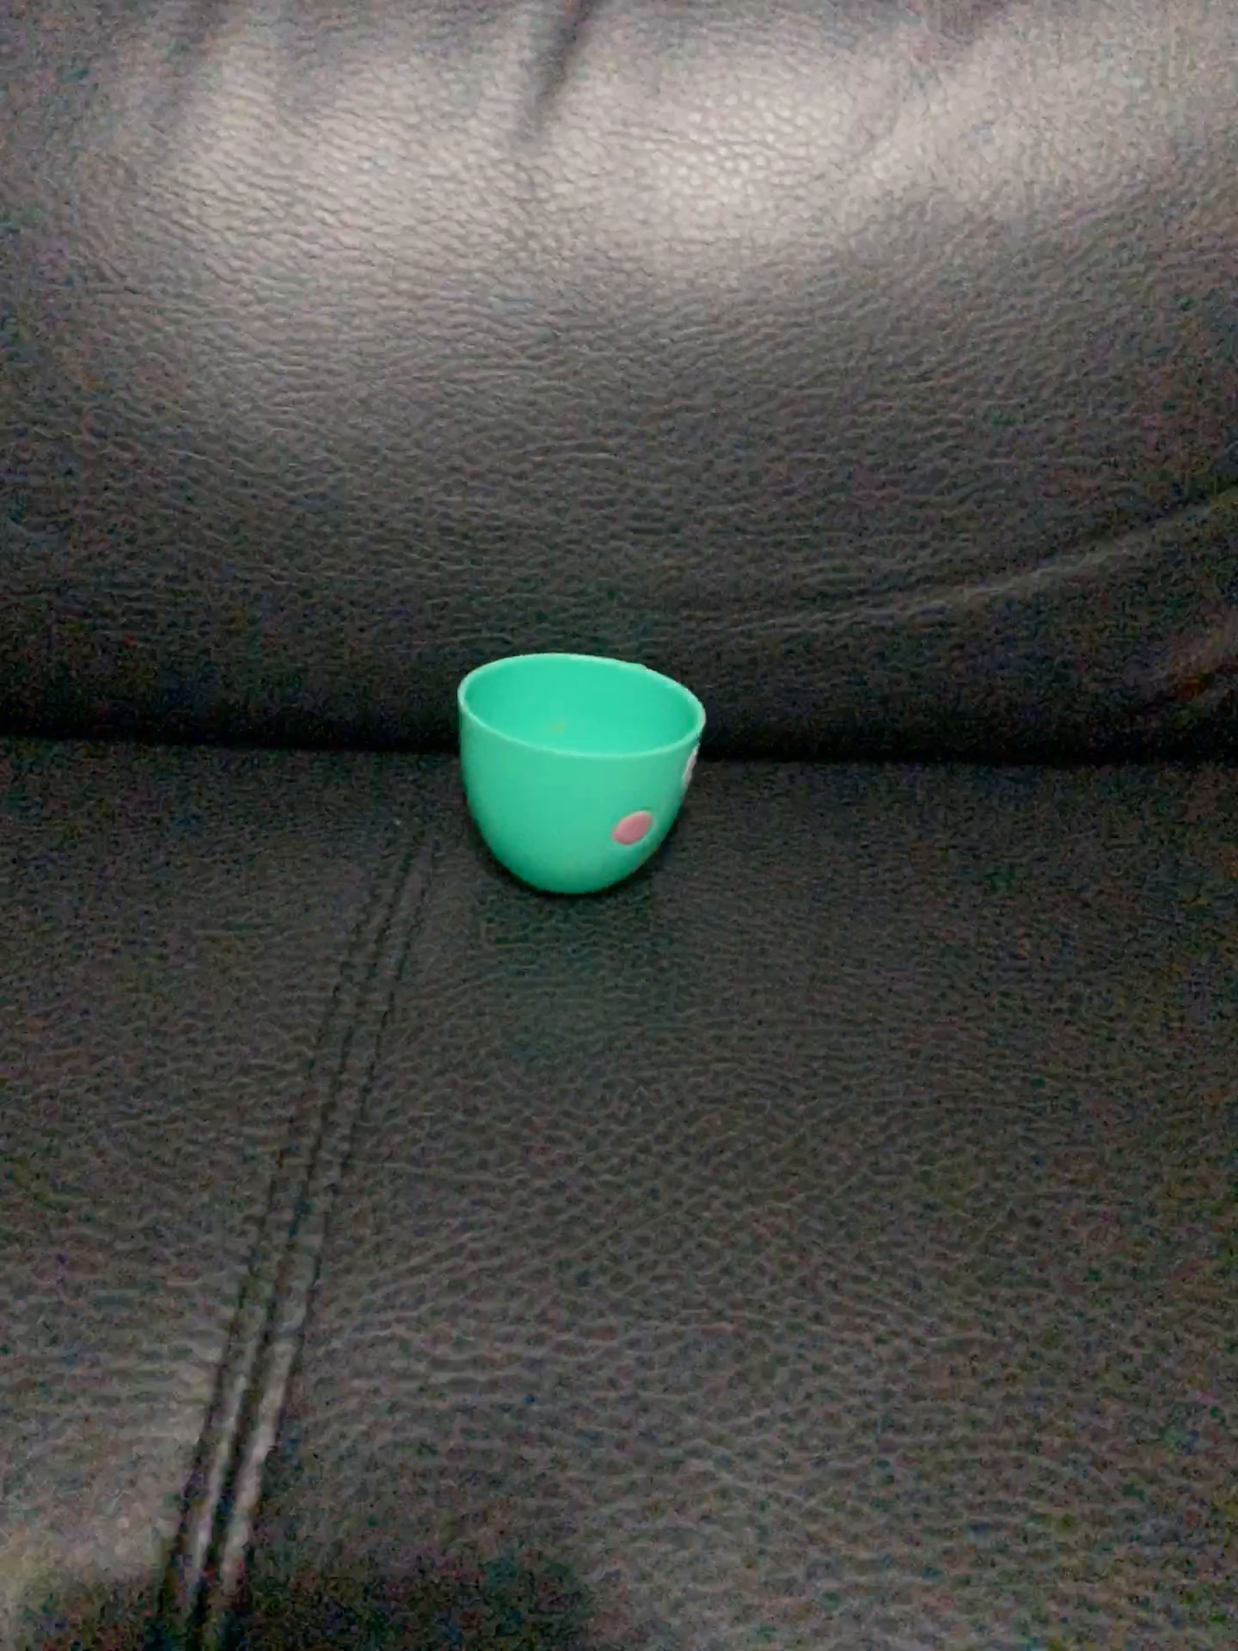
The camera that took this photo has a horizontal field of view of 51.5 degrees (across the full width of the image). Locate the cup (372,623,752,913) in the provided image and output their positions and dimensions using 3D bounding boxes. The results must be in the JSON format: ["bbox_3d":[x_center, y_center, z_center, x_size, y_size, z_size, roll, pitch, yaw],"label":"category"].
[{"bbox_3d":[-0.010,-0.015,0.261,0.053,0.030,0.063,16,24,17],"label":"cup"}]
